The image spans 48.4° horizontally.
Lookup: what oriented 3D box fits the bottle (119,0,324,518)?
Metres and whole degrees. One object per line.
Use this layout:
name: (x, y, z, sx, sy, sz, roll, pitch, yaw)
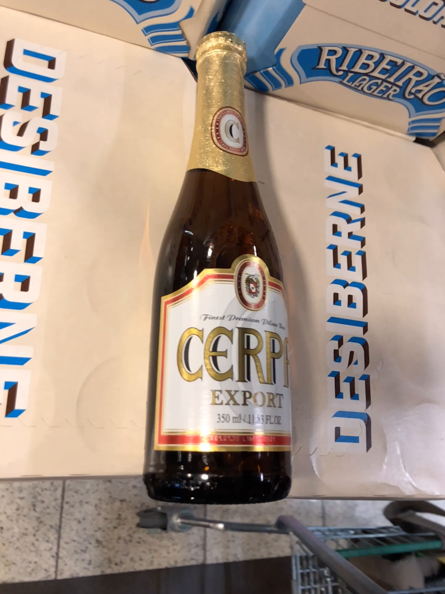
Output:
bottle: (-0.004, -0.031, 0.239, 0.070, 0.060, 0.240, 5, 75, -21)
